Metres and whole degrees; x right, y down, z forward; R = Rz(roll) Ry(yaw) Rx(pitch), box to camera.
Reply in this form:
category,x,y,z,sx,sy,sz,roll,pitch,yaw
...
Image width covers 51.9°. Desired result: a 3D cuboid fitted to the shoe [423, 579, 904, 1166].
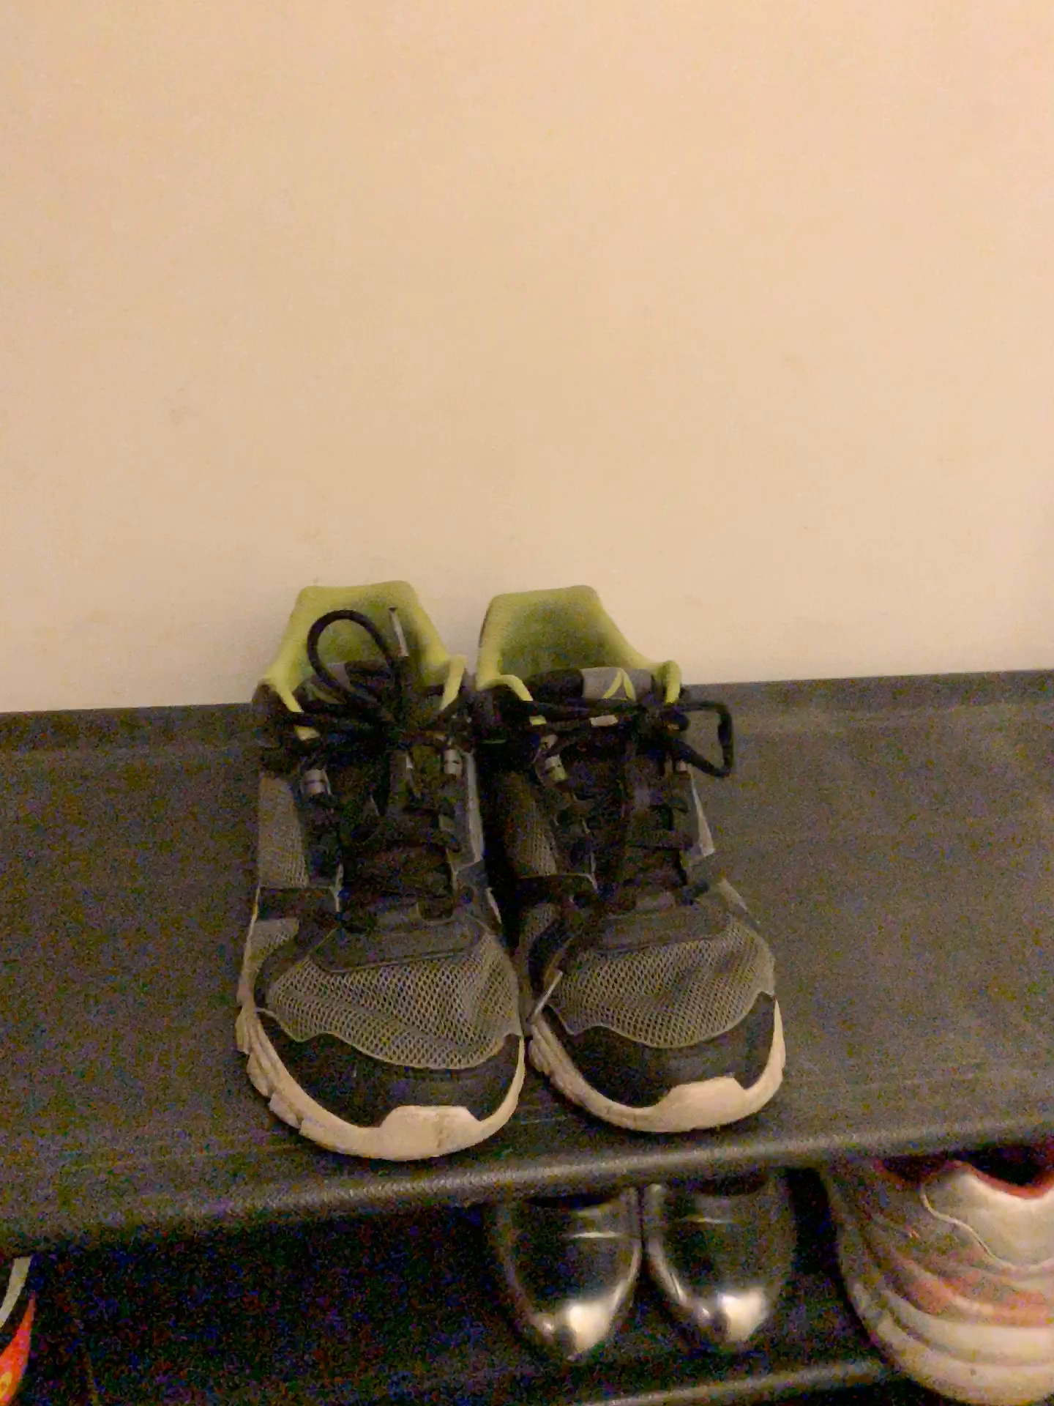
category,x,y,z,sx,sy,sz,roll,pitch,yaw
shoe,0.031,0.042,0.441,0.110,0.069,0.262,-4,33,-12

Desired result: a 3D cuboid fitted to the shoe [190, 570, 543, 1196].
category,x,y,z,sx,sy,sz,roll,pitch,yaw
shoe,-0.070,0.048,0.439,0.100,0.099,0.252,-3,33,-11
